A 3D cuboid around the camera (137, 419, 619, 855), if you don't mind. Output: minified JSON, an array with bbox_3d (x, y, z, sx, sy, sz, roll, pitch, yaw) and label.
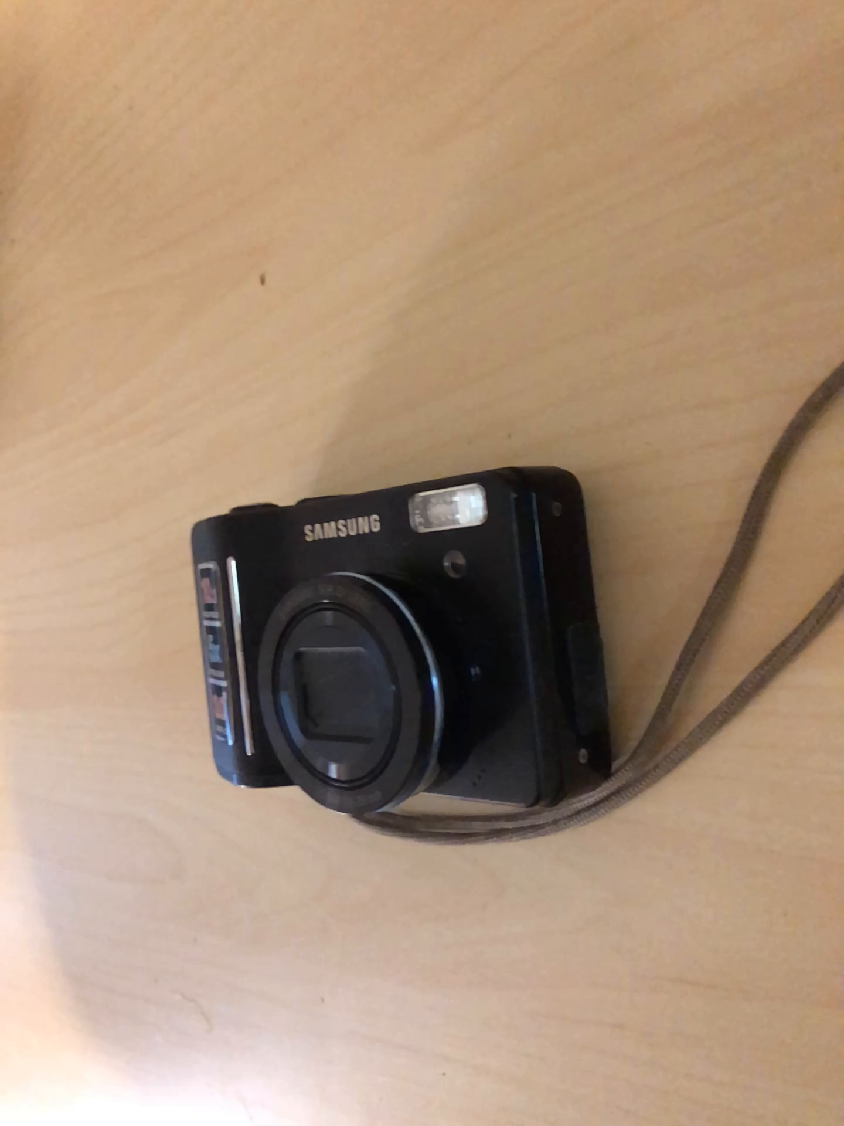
[{"bbox_3d":[-0.017,0.014,0.200,0.111,0.030,0.070,-5,90,45],"label":"camera"}]
